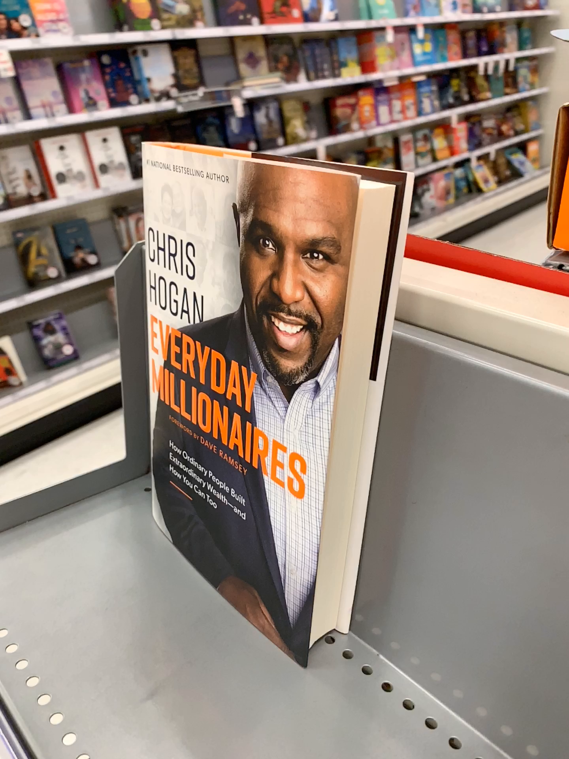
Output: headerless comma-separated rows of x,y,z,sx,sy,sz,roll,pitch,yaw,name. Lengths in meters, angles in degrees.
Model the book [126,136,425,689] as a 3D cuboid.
-0.023,0.010,0.307,0.037,0.241,0.161,-16,31,-38,book
